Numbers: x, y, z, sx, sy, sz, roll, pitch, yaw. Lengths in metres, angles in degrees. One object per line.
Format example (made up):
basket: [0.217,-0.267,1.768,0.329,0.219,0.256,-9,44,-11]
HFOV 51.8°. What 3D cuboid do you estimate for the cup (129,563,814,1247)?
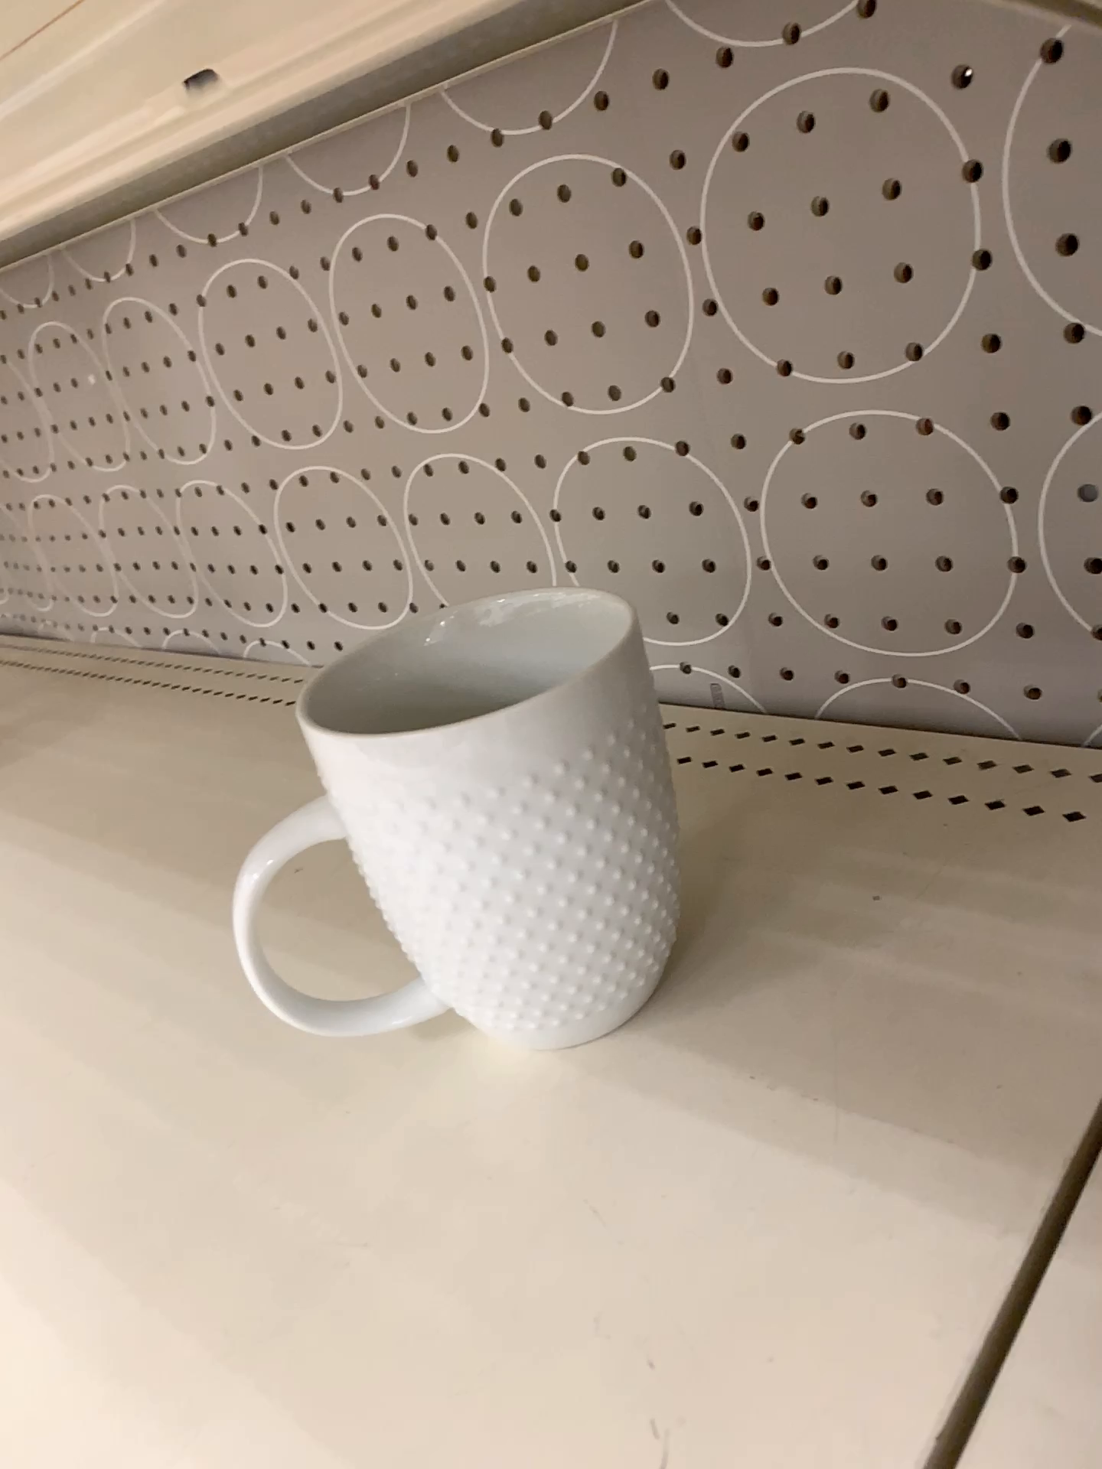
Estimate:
cup: [-0.021,0.035,0.310,0.137,0.105,0.094,-26,26,-17]
